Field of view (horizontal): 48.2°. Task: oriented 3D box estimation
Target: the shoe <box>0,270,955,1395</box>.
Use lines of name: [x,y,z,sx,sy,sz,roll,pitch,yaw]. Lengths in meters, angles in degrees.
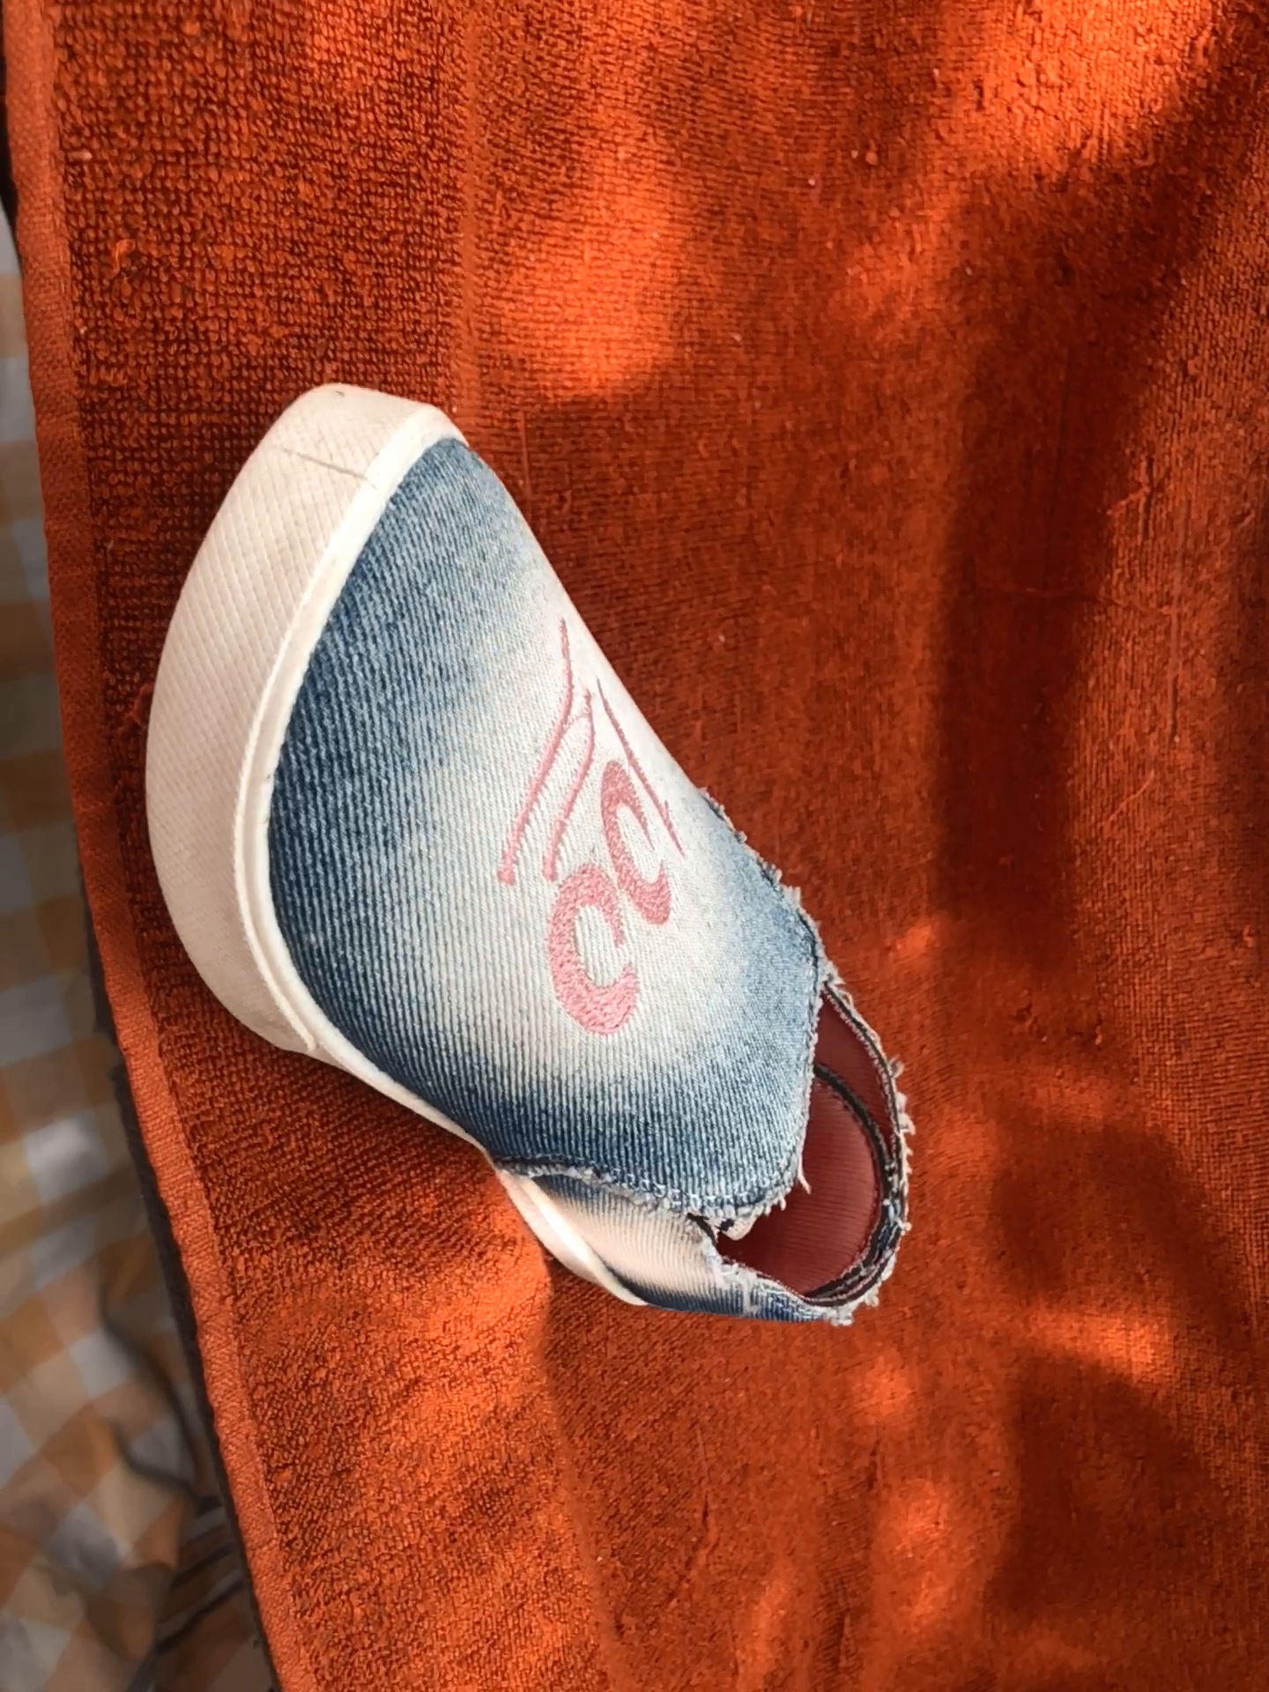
shoe: [-0.011,0.020,0.289,0.242,0.079,0.090,57,48,-46]
